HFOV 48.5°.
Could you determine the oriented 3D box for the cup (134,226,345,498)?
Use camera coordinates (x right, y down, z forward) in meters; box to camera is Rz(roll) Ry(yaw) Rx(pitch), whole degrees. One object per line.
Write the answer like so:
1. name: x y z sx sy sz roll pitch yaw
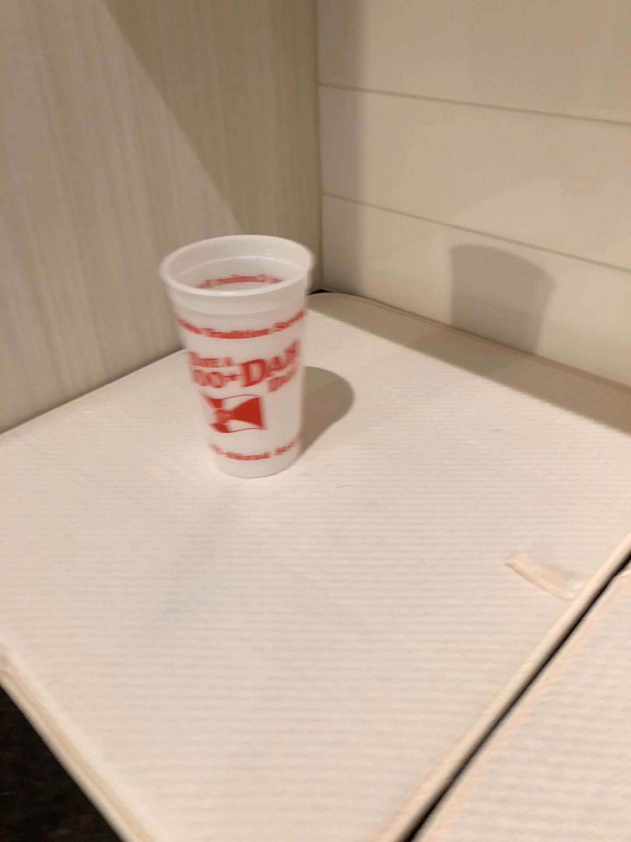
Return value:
1. cup: -0.040 -0.041 0.465 0.100 0.139 0.101 -1 35 1
